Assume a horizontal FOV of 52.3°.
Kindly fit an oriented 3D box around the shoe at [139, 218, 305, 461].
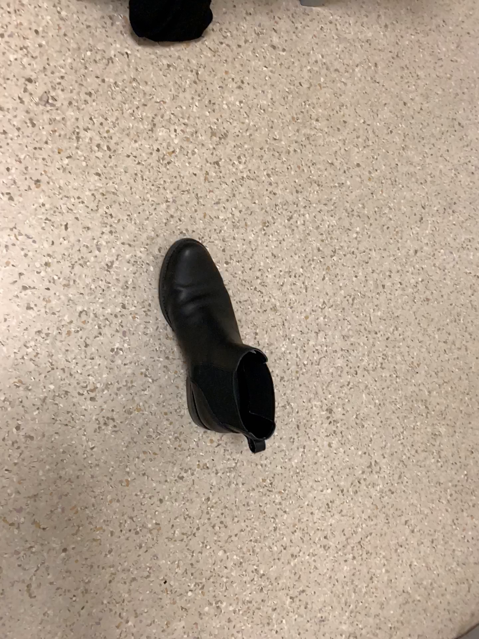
[{"bbox_3d":[-0.028,0.023,0.645,0.108,0.147,0.270,-16,95,-28],"label":"shoe"}]
